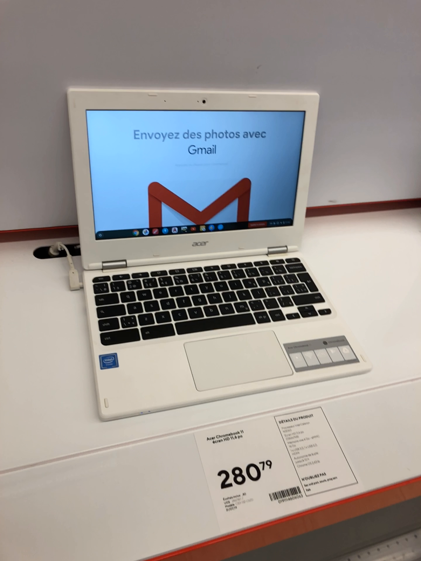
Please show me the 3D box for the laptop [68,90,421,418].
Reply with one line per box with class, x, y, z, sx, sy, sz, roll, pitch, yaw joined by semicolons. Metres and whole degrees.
laptop;0.015;-0.048;0.481;0.282;0.188;0.260;-6;46;-16
